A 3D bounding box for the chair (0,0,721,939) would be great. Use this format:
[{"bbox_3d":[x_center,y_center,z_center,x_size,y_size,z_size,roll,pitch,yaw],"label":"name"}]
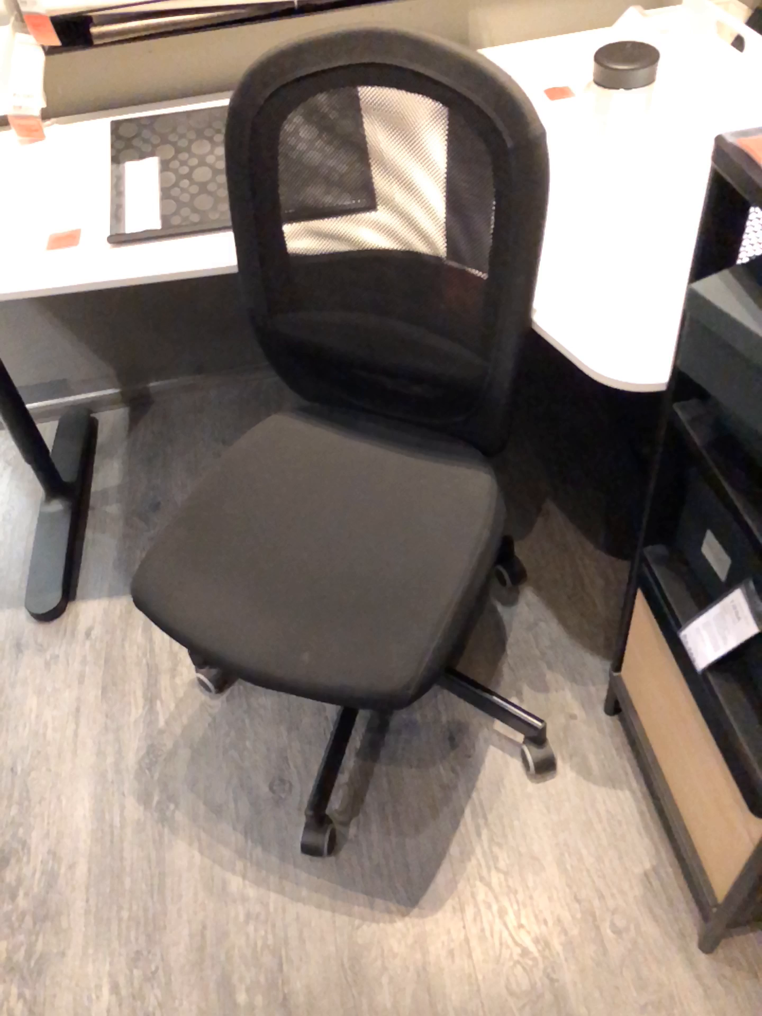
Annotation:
[{"bbox_3d":[-0.032,-0.055,1.080,0.631,0.884,0.713,14,52,19],"label":"chair"}]
